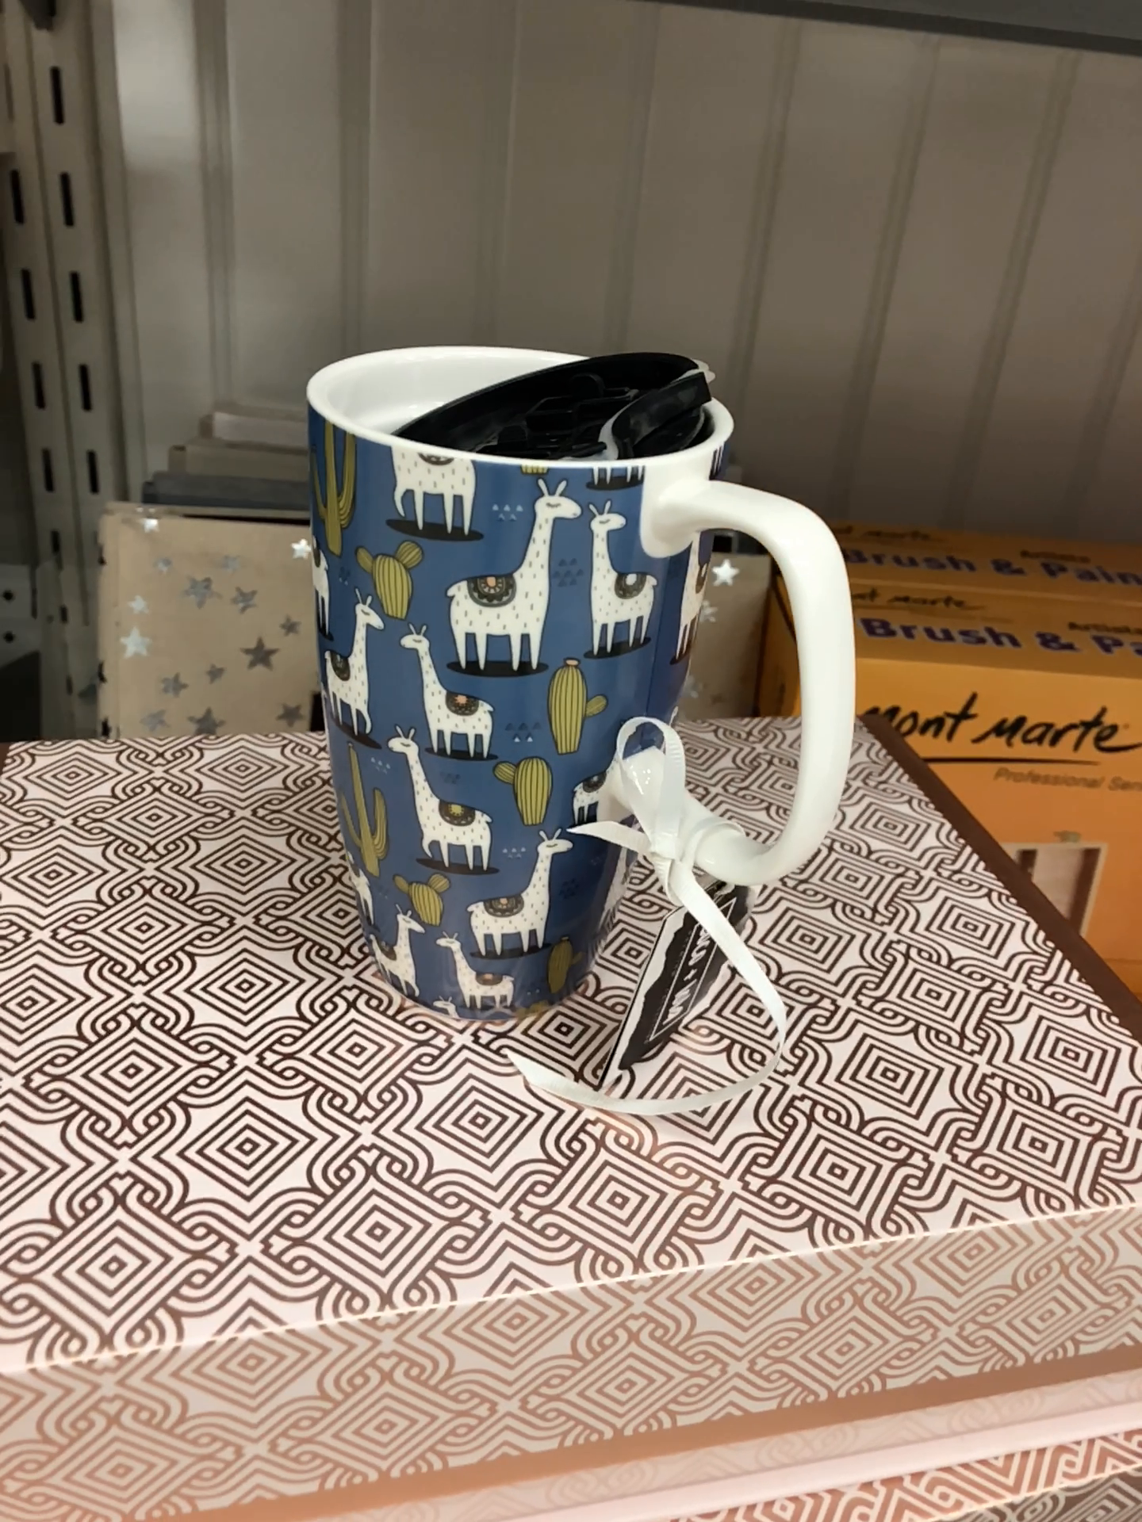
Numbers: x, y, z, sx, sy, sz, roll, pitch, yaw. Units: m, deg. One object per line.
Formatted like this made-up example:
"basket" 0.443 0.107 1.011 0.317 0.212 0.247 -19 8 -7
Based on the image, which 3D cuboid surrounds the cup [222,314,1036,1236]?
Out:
"cup" 0.005 -0.008 0.272 0.126 0.138 0.090 25 35 31
